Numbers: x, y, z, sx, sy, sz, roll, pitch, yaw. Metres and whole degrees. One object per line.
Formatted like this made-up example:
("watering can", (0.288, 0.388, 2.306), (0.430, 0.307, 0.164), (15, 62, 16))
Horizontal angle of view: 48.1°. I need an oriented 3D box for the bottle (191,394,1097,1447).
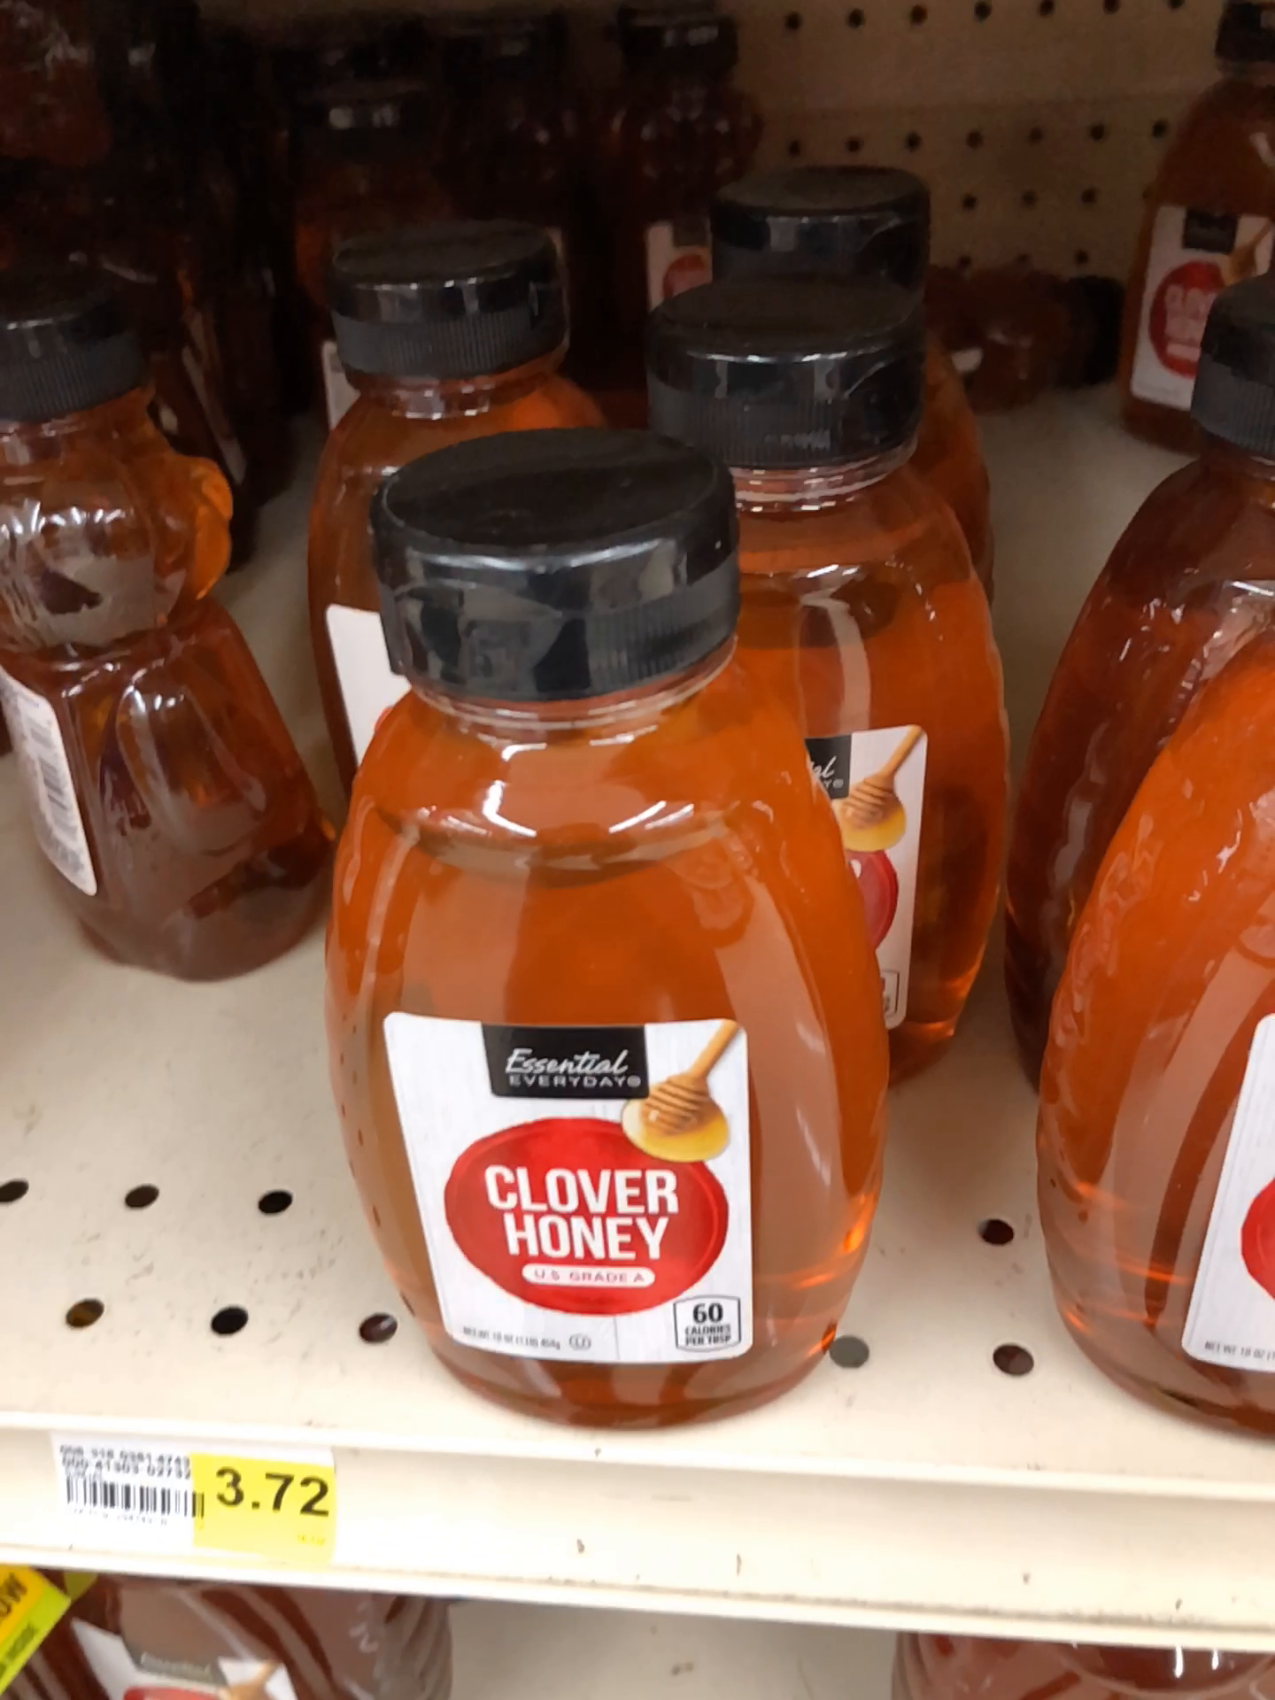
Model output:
("bottle", (0.006, 0.014, 0.193), (0.083, 0.130, 0.060), (0, 36, 6))
